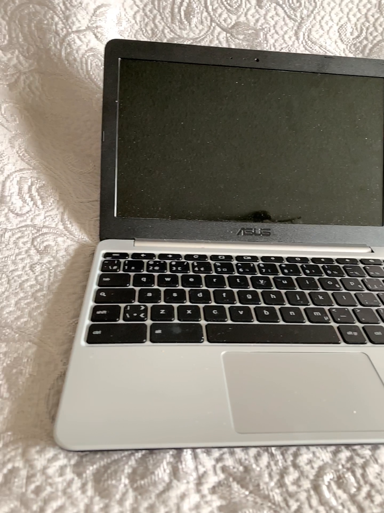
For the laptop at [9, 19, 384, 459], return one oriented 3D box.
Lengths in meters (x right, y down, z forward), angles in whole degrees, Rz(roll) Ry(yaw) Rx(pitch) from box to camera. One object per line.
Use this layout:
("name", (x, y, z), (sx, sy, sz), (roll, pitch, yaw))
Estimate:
("laptop", (0.066, -0.044, 0.293), (0.288, 0.127, 0.288), (2, 41, -13))
